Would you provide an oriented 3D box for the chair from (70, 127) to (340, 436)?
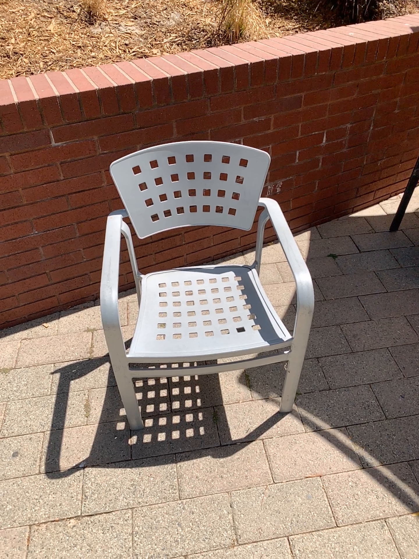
[{"bbox_3d":[-0.034,0.014,1.307,0.559,0.718,0.492,-7,41,-6],"label":"chair"}]
